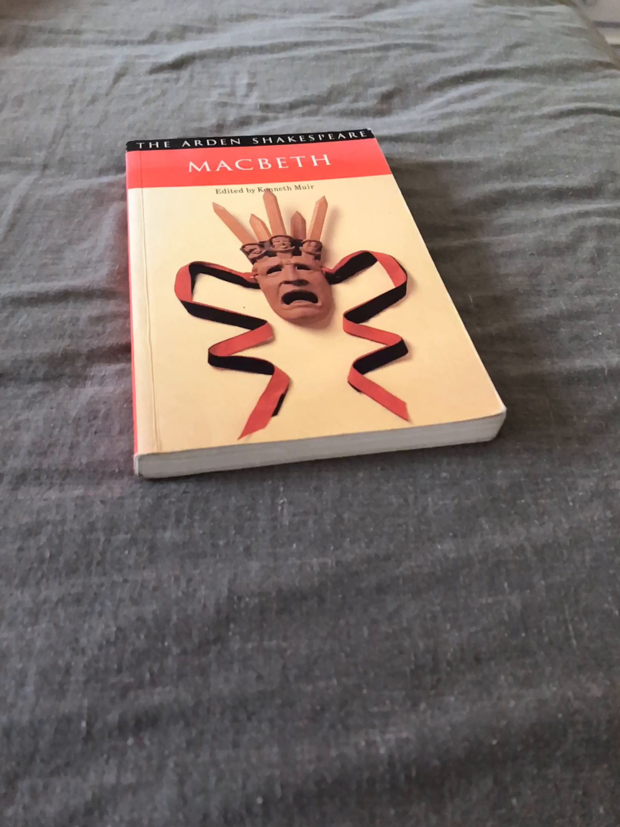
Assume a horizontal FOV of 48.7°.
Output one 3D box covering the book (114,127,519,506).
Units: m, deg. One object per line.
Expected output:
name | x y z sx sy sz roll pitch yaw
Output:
book | -0.013 -0.059 0.288 0.130 0.020 0.201 -7 49 -8
